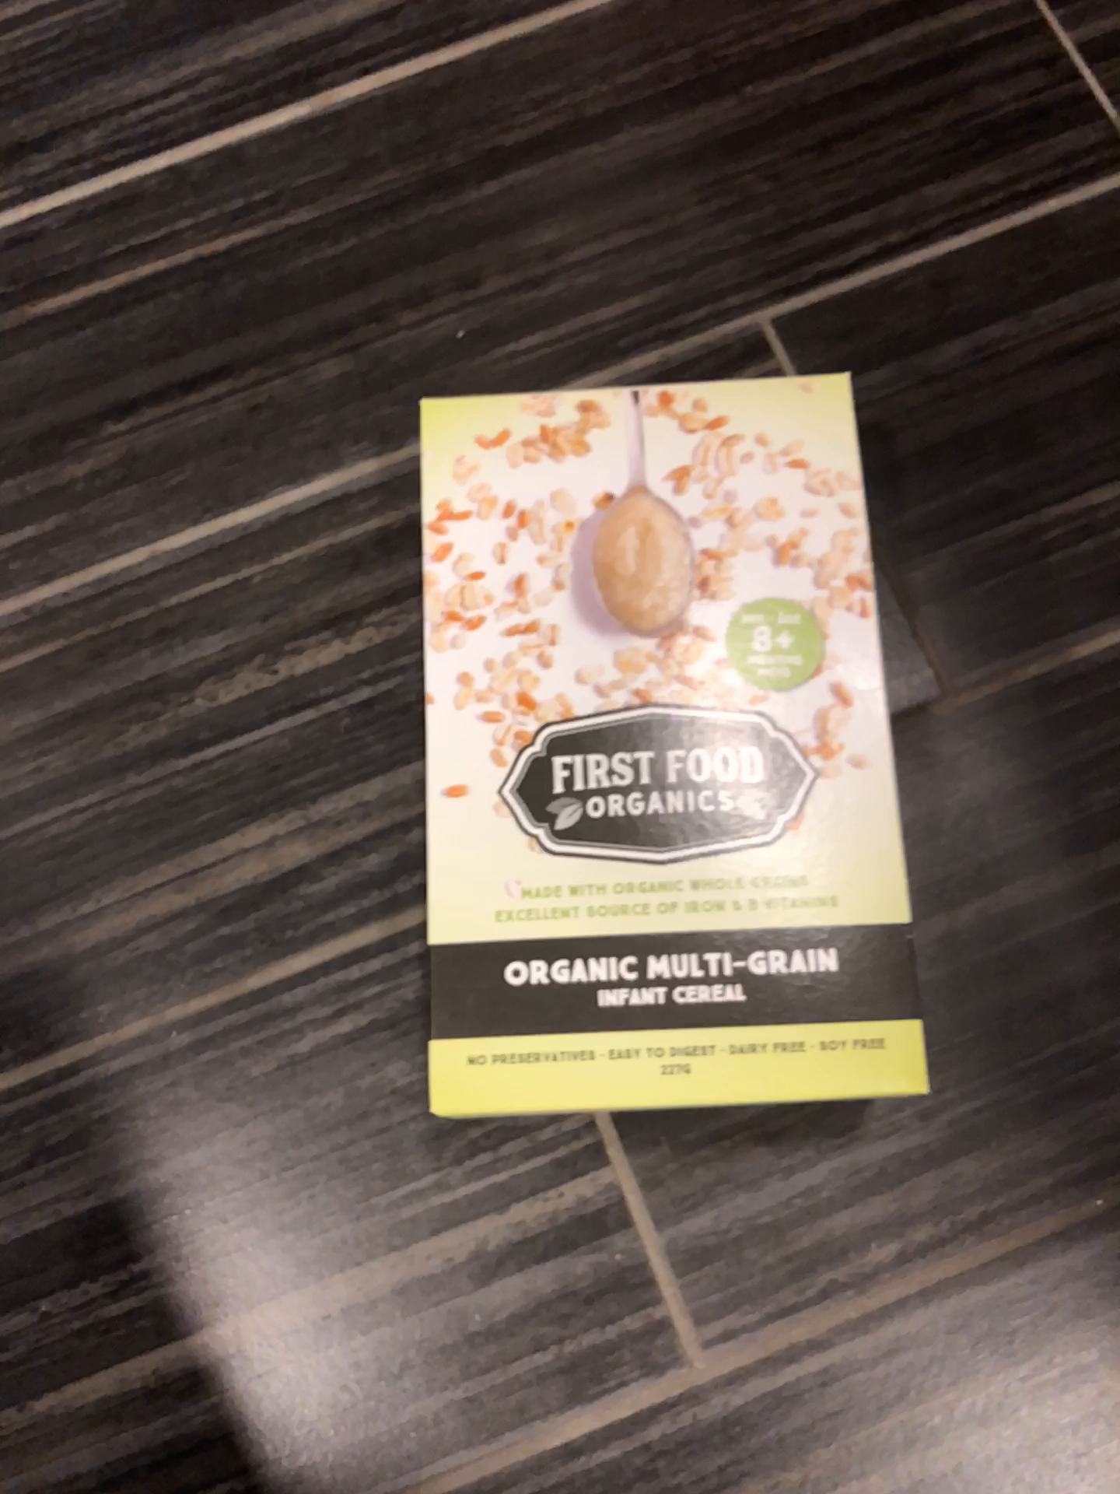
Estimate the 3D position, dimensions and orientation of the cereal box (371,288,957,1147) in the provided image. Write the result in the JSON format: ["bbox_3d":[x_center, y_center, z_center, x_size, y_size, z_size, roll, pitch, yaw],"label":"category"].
[{"bbox_3d":[0.021,-0.010,0.361,0.140,0.060,0.230,-3,74,2],"label":"cereal box"}]
